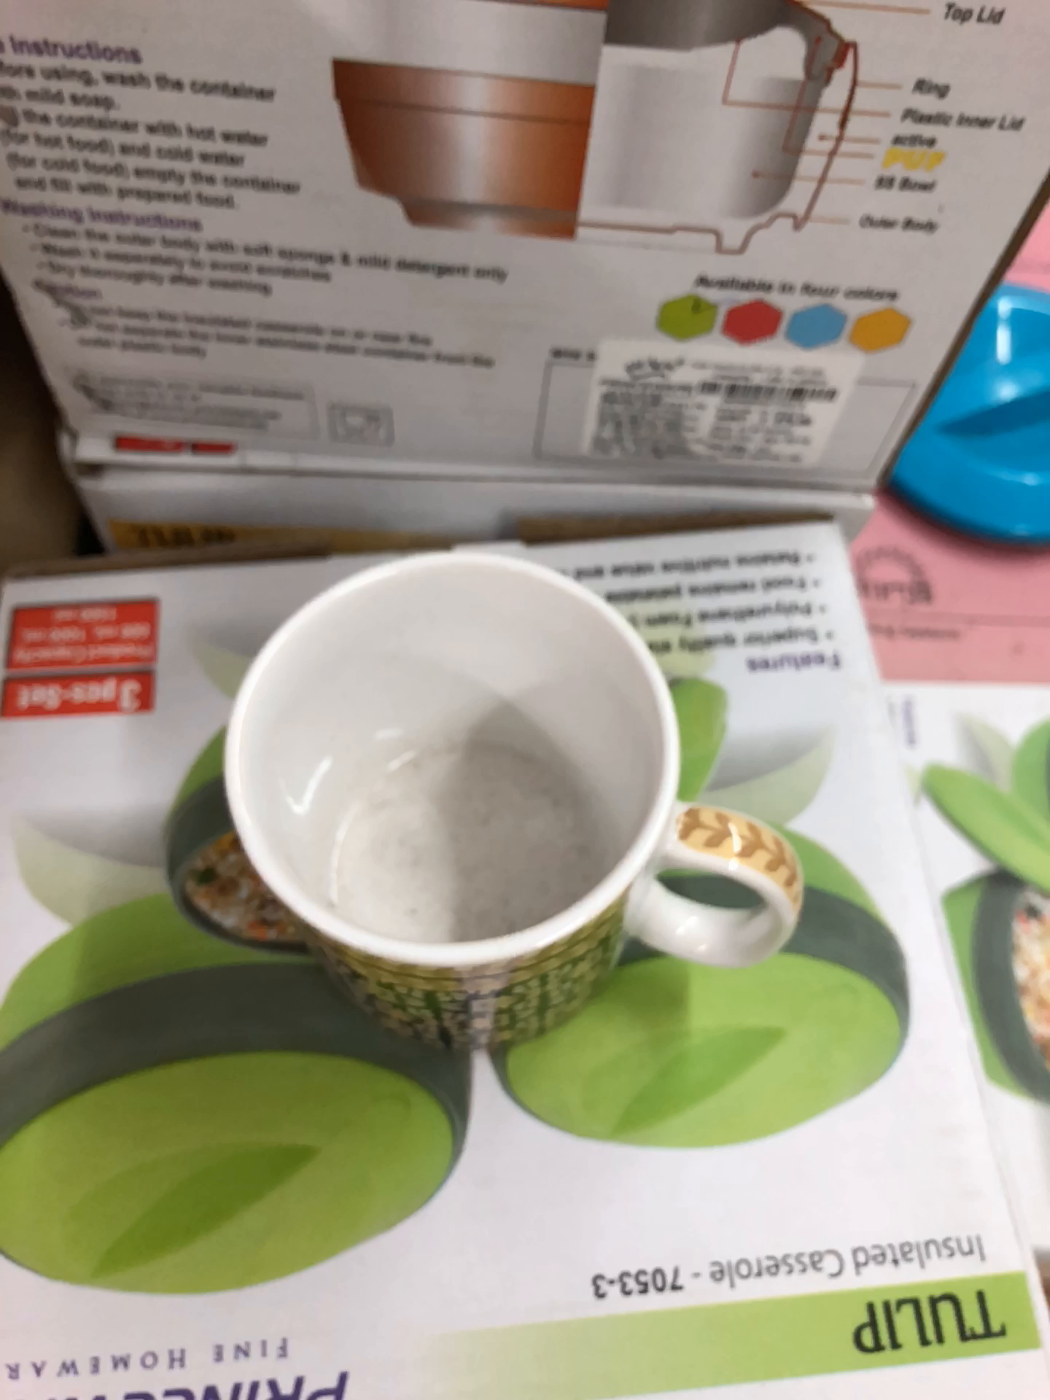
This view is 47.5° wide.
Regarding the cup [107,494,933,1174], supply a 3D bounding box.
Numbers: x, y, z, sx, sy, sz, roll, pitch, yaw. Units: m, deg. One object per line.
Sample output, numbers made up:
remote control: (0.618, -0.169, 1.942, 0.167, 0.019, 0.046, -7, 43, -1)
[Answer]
cup: (0.003, 0.029, 0.219, 0.110, 0.090, 0.070, 13, 61, 7)
